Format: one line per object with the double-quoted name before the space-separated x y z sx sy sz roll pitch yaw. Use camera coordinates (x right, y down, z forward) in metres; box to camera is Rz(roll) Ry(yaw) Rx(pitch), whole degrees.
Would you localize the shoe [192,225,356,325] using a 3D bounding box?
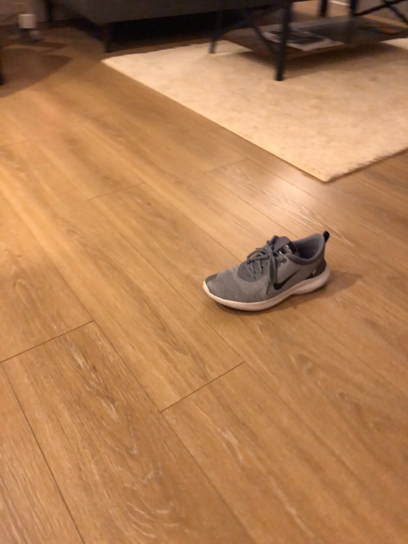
"shoe" 0.150 -0.002 0.984 0.321 0.079 0.141 -14 42 -19
